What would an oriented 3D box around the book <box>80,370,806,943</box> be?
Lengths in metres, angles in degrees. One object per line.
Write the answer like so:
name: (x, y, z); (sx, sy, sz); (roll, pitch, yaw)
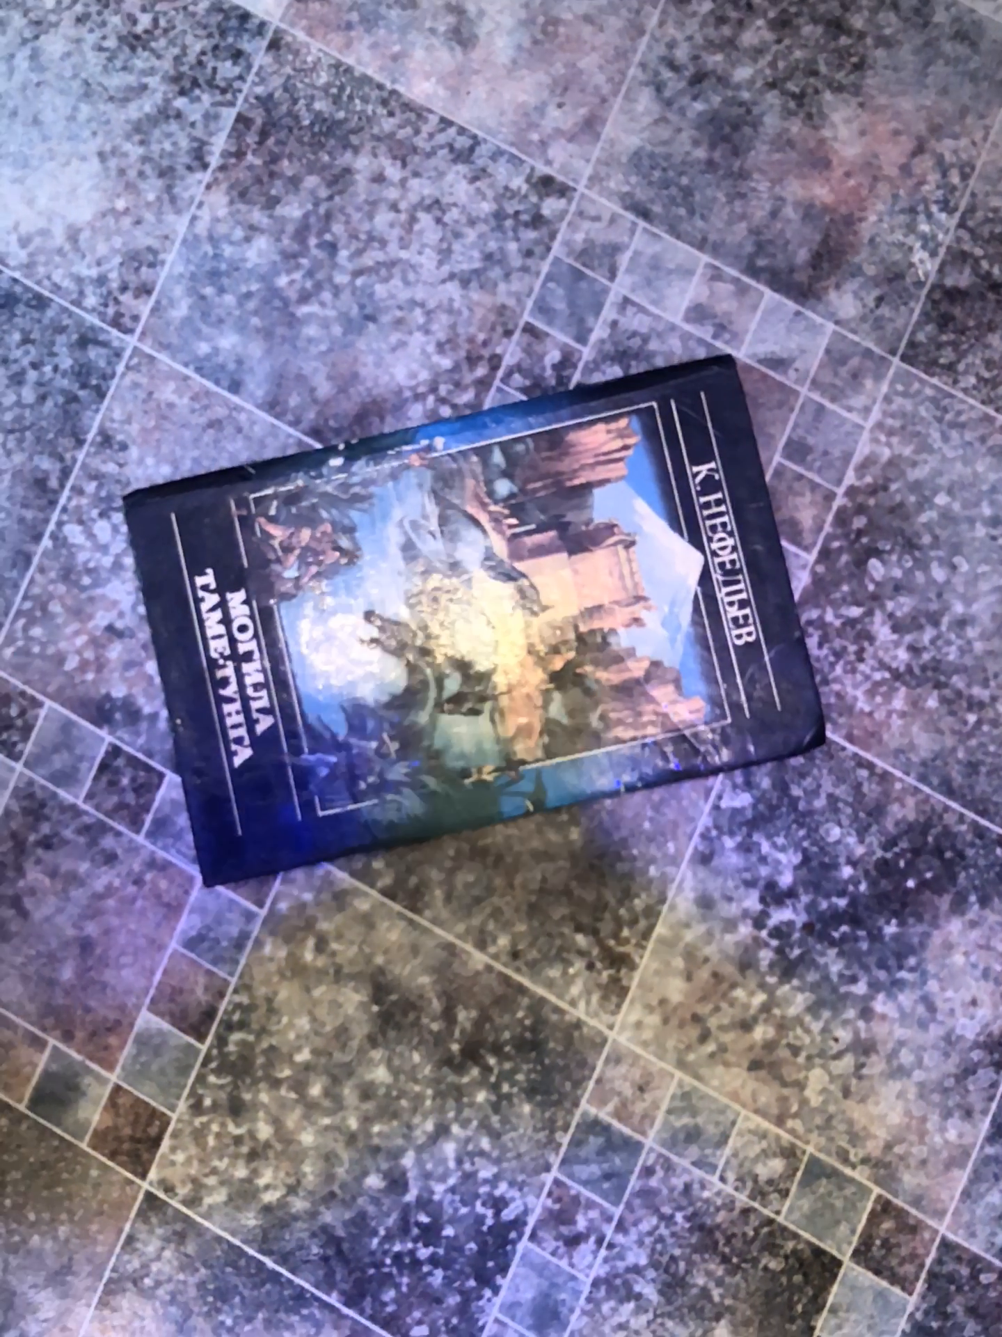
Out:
book: (-0.020, -0.003, 0.361); (0.201, 0.030, 0.139); (-12, 87, 2)
